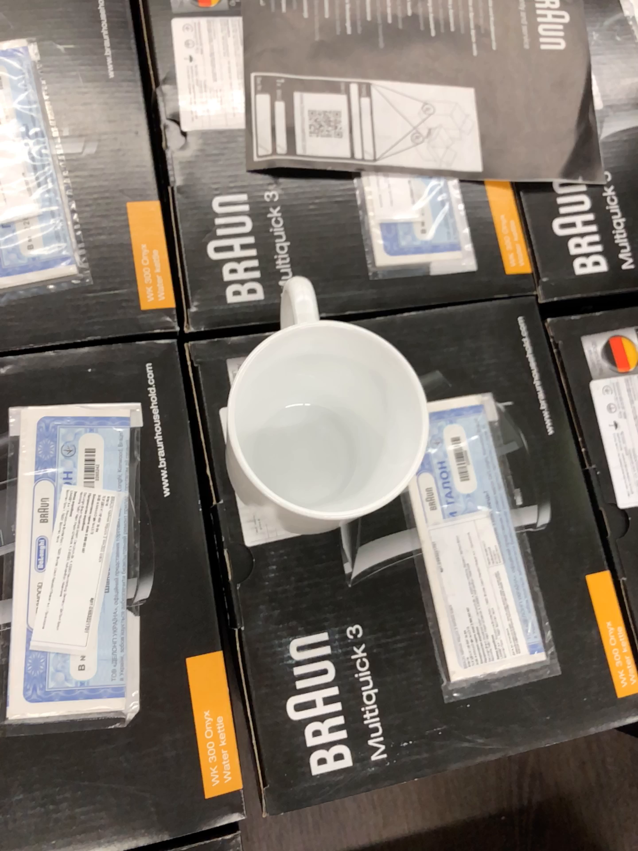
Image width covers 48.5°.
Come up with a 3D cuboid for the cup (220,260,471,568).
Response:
[{"bbox_3d":[0.003,-0.001,0.316,0.082,0.092,0.110,-4,75,-11],"label":"cup"}]
